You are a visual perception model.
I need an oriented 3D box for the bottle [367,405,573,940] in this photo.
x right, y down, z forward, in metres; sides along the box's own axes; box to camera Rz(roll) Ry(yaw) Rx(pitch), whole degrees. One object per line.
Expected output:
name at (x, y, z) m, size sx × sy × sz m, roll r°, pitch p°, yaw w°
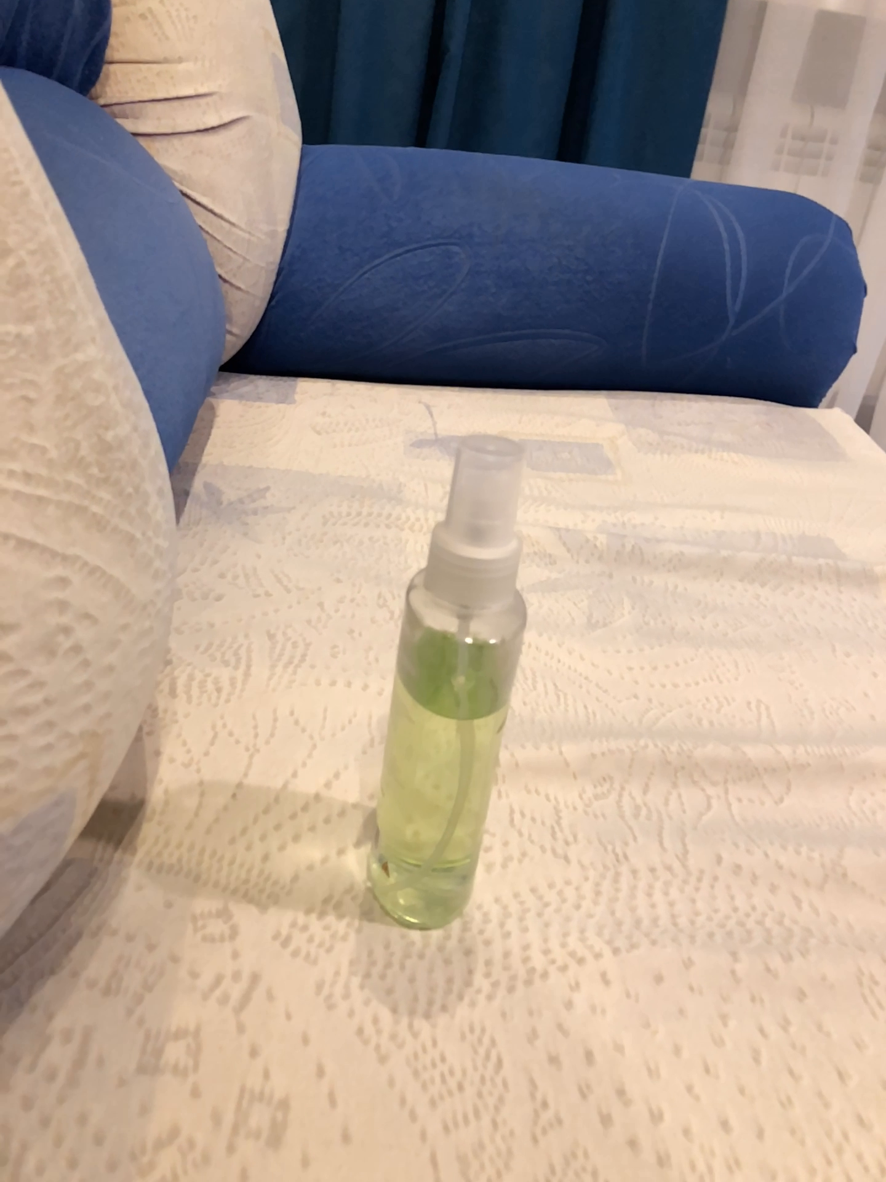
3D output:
bottle at (0.002, 0.027, 0.290) m, size 0.037 × 0.149 × 0.058 m, roll 5°, pitch 28°, yaw -6°
